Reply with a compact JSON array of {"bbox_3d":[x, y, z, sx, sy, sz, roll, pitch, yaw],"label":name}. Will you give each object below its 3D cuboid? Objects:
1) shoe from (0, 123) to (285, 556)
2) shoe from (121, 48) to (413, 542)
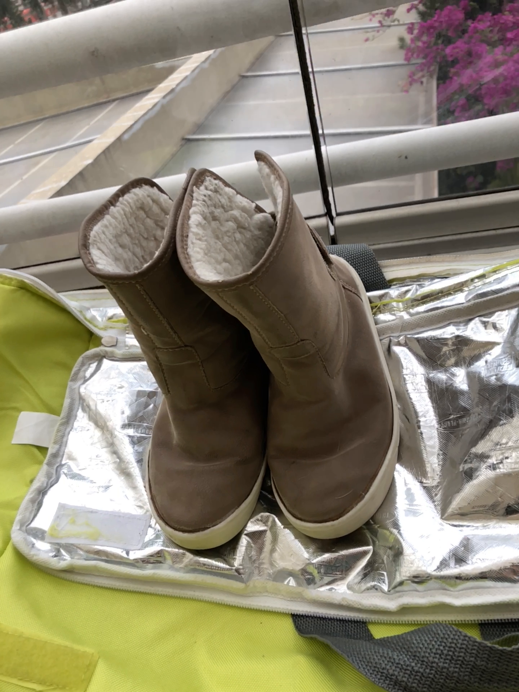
[{"bbox_3d":[-0.054,0.012,0.337,0.089,0.169,0.191,-7,62,18],"label":"shoe"},{"bbox_3d":[0.019,-0.012,0.315,0.089,0.169,0.201,-9,61,16],"label":"shoe"}]
